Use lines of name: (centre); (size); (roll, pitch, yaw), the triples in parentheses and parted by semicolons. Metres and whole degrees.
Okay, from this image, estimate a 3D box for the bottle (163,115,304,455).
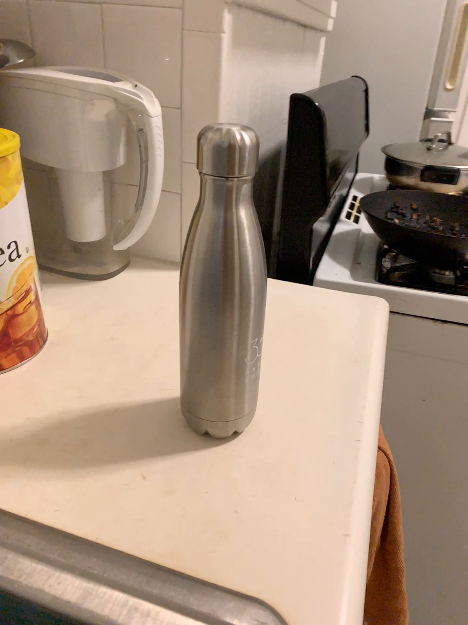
bottle: (-0.005, -0.014, 0.378); (0.070, 0.249, 0.070); (3, 29, -2)
